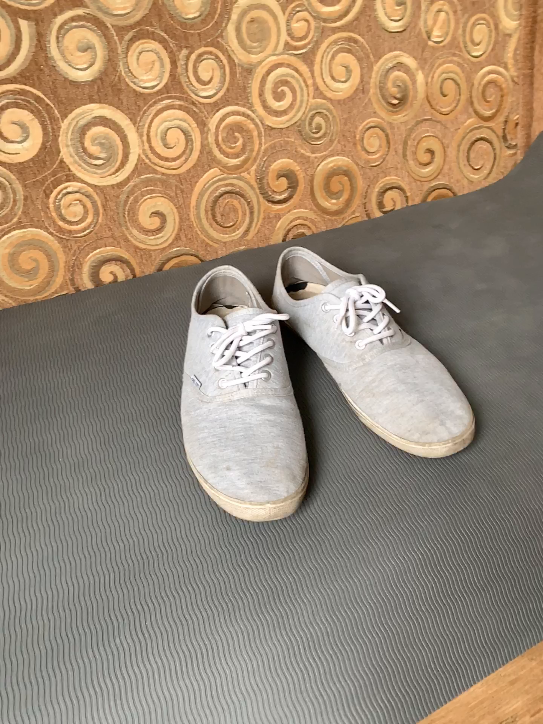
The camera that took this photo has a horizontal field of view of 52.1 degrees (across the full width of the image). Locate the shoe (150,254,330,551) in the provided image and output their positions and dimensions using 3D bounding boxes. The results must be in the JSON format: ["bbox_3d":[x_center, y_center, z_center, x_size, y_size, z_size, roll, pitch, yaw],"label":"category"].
[{"bbox_3d":[-0.040,0.016,0.485,0.110,0.080,0.261,-8,44,-8],"label":"shoe"}]

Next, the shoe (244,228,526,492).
[{"bbox_3d":[0.086,-0.020,0.527,0.110,0.080,0.261,-22,48,-22],"label":"shoe"}]
